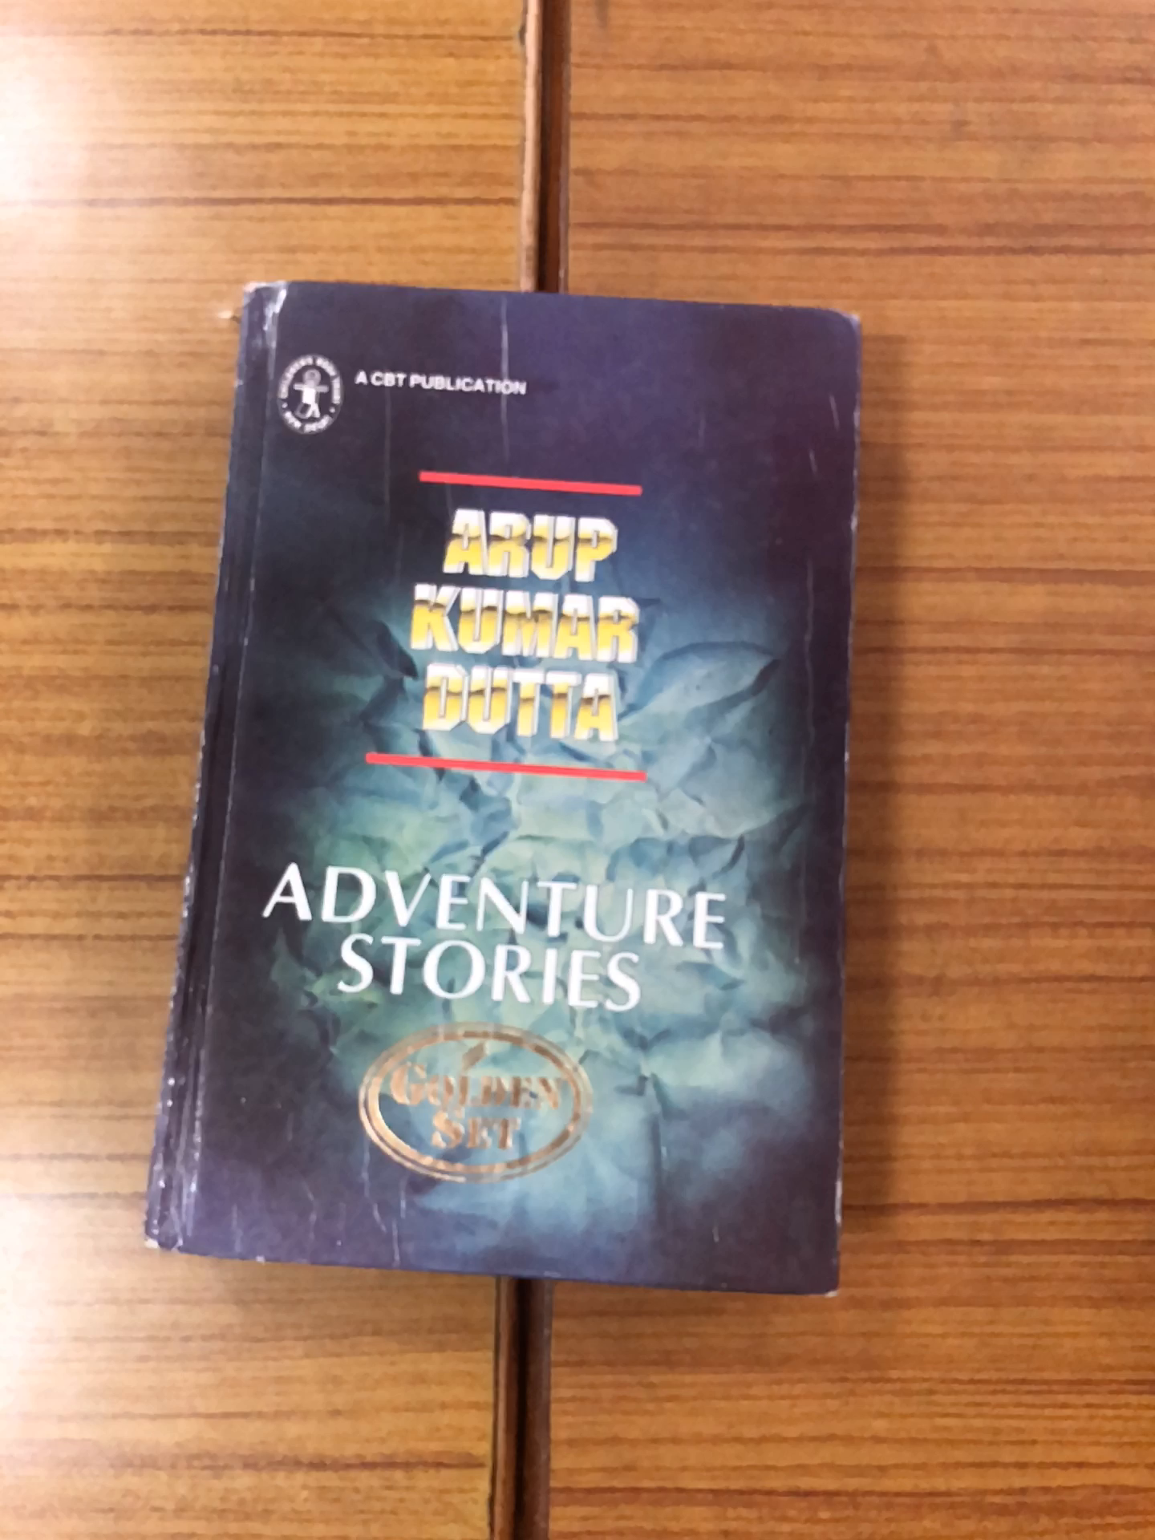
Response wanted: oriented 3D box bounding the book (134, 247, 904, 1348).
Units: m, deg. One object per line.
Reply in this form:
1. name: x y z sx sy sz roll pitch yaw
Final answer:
1. book: -0.008 0.002 0.283 0.145 0.036 0.218 3 83 0
